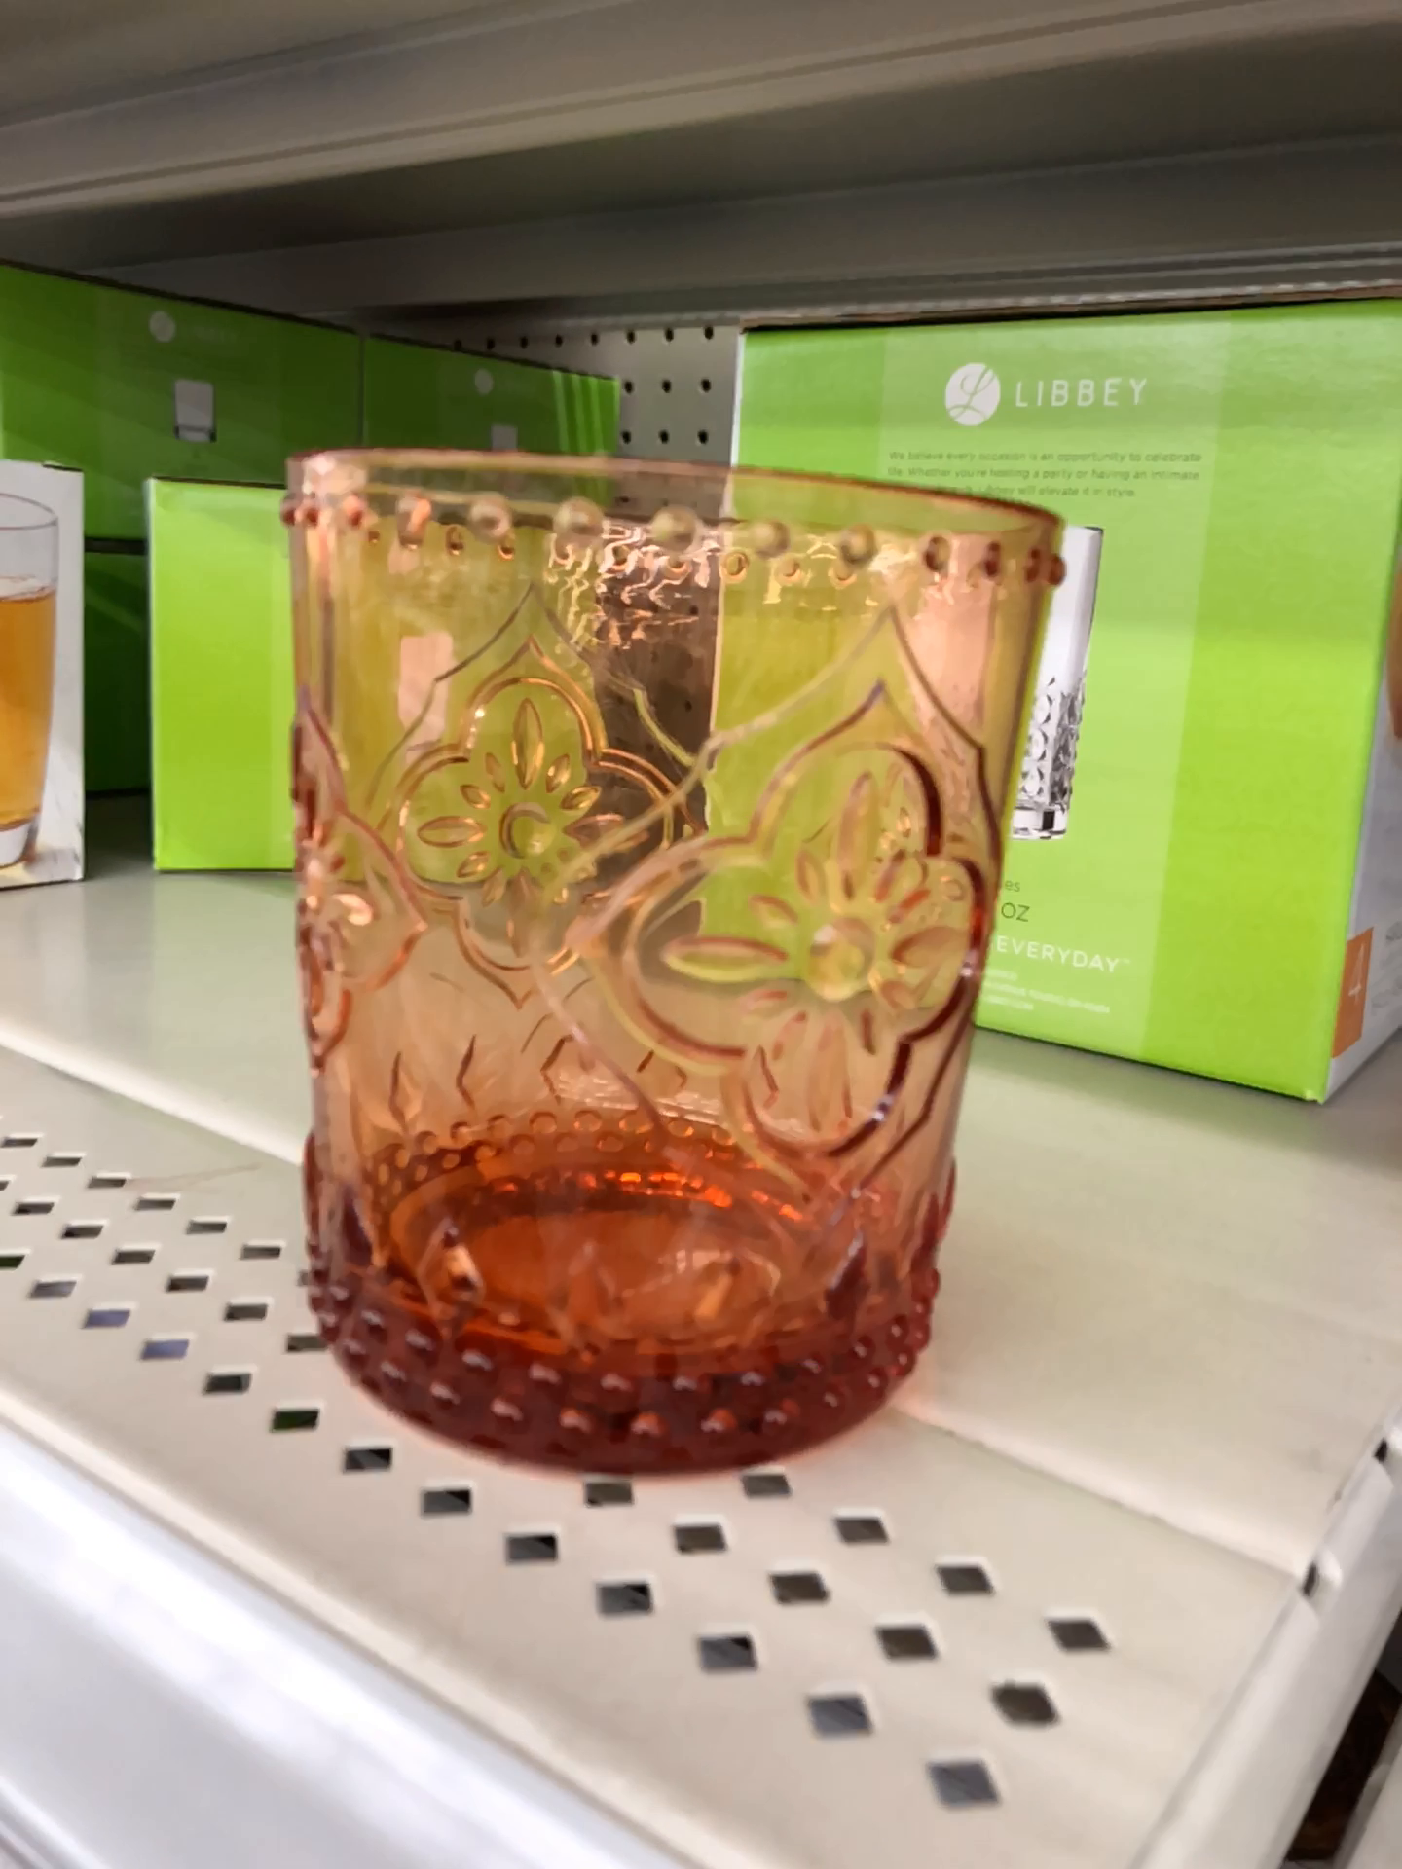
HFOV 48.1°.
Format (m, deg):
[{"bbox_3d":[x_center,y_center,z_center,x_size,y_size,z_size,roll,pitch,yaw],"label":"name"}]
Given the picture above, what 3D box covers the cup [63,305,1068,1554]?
[{"bbox_3d":[-0.010,-0.008,0.186,0.090,0.110,0.080,7,12,14],"label":"cup"}]
